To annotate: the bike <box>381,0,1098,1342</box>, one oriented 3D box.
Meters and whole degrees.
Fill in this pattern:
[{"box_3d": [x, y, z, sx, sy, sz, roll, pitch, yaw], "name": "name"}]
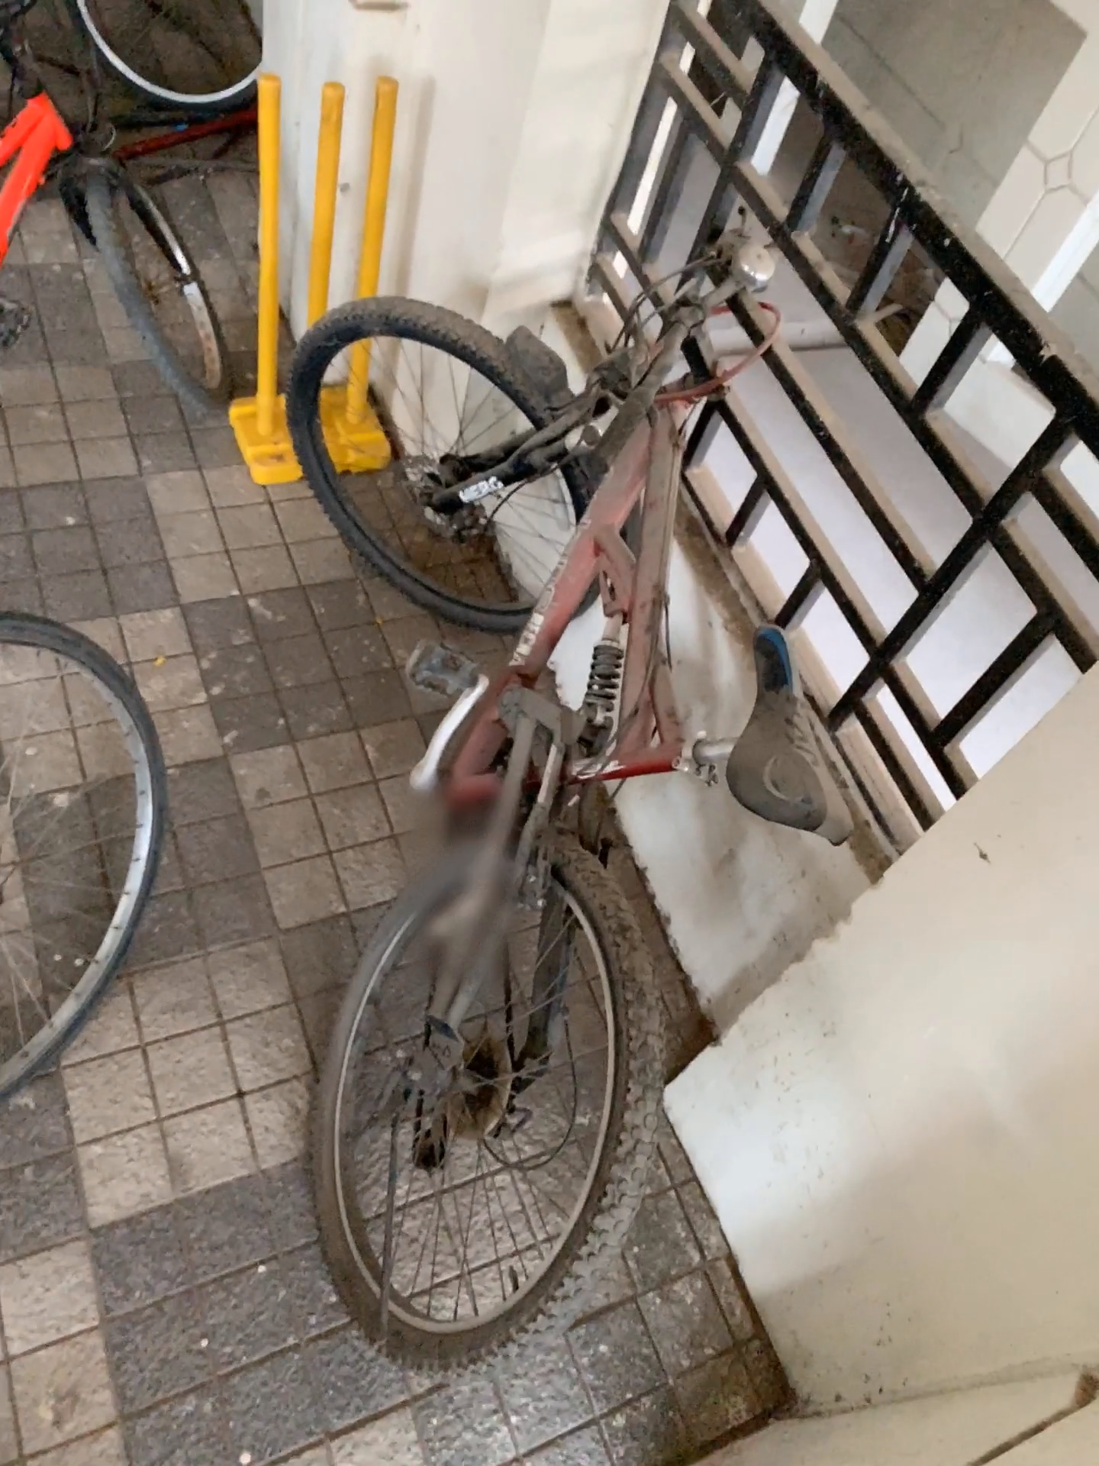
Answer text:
[{"box_3d": [0.193, -0.120, 1.500, 0.608, 0.832, 1.467, -2, 65, -17], "name": "bike"}]
